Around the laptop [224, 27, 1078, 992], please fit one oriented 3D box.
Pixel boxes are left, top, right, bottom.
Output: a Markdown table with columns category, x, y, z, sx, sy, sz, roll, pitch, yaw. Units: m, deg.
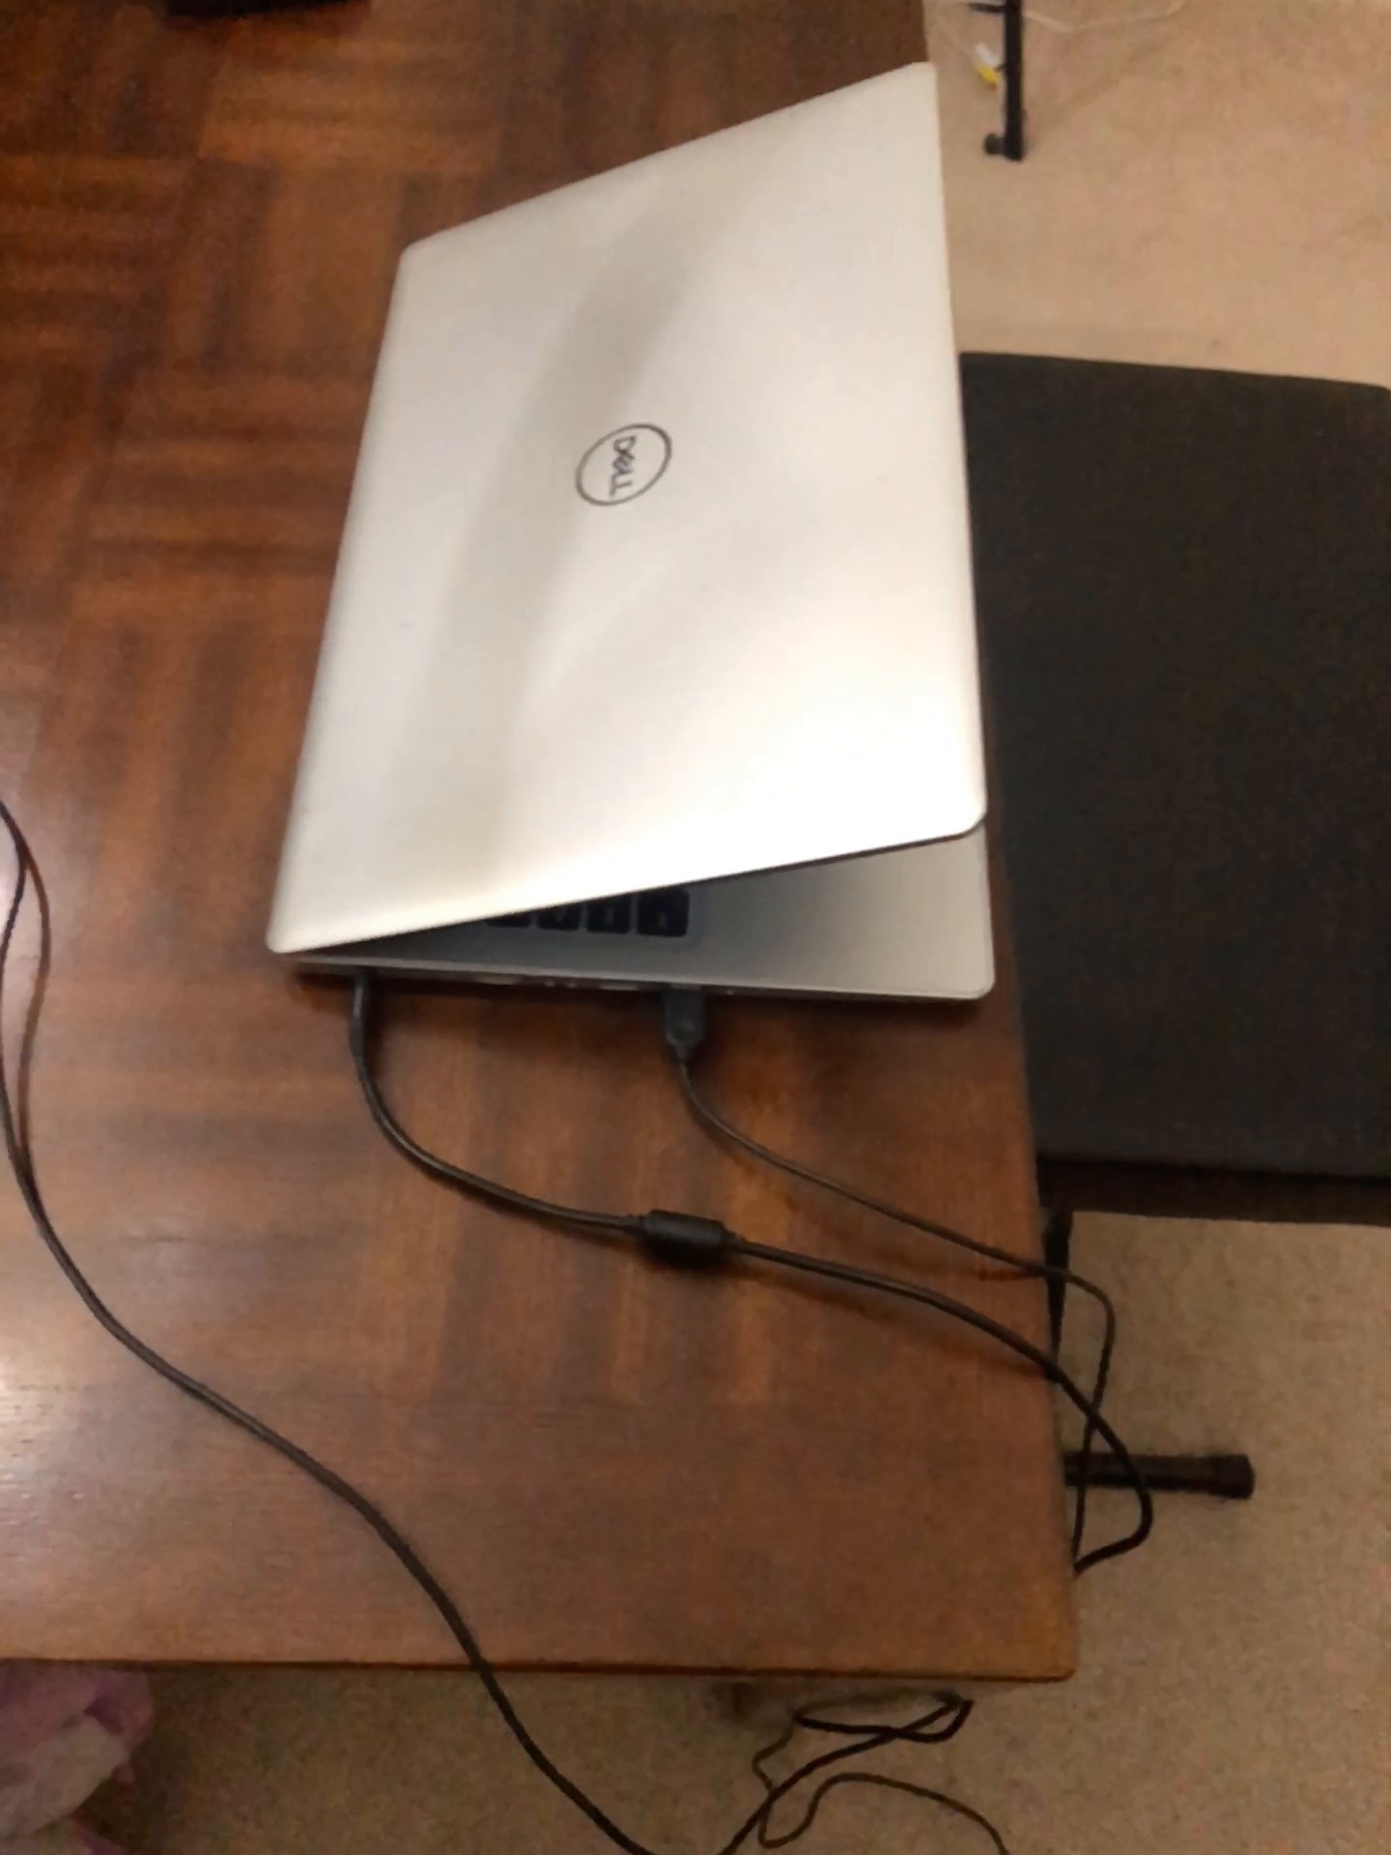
| category | x | y | z | sx | sy | sz | roll | pitch | yaw |
| --- | --- | --- | --- | --- | --- | --- | --- | --- | --- |
| laptop | -0.006 | -0.170 | 0.583 | 0.249 | 0.103 | 0.370 | 4 | 61 | -3 |
